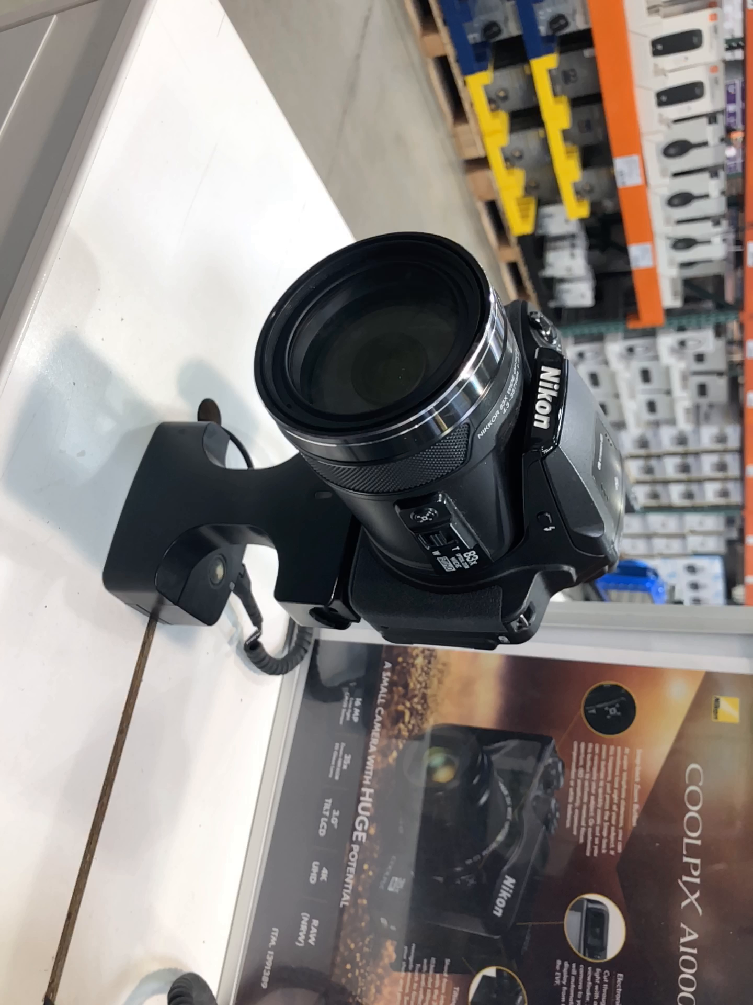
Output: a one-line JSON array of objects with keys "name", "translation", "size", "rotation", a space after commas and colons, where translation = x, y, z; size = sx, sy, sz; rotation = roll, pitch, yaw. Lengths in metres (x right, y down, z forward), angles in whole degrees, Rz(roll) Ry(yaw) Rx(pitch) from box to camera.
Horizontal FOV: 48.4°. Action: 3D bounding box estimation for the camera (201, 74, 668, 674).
[{"name": "camera", "translation": [0.041, -0.033, 0.305], "size": [0.151, 0.109, 0.140], "rotation": [53, 43, -54]}]
